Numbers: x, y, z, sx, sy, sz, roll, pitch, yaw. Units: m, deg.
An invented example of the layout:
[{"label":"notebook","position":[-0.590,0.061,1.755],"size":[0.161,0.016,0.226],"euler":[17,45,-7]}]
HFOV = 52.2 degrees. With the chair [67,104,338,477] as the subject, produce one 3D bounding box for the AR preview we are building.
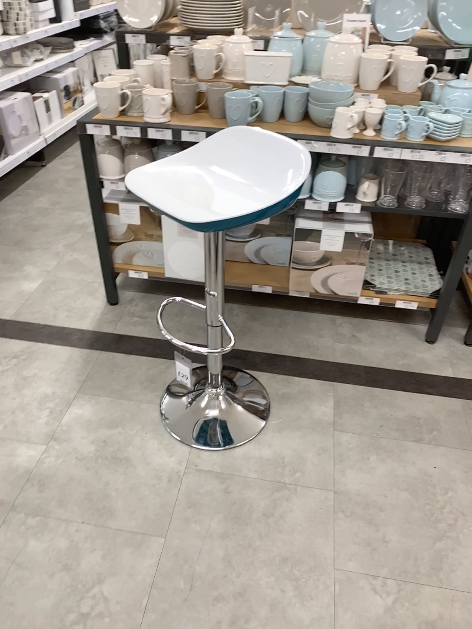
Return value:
[{"label":"chair","position":[-0.088,-0.065,1.340],"size":[0.422,0.825,0.457],"euler":[-28,46,-32]}]
